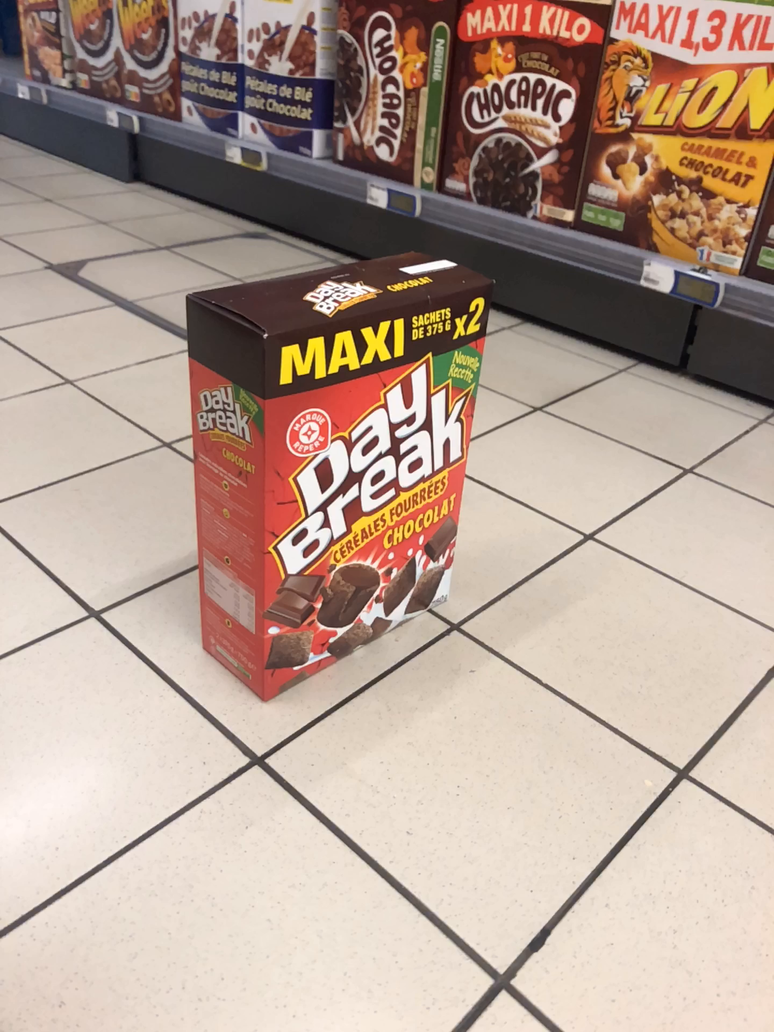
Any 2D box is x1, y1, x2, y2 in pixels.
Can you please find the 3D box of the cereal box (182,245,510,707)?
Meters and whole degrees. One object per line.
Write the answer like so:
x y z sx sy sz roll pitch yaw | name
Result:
-0.030 -0.033 0.623 0.201 0.278 0.090 -23 41 -37 | cereal box
